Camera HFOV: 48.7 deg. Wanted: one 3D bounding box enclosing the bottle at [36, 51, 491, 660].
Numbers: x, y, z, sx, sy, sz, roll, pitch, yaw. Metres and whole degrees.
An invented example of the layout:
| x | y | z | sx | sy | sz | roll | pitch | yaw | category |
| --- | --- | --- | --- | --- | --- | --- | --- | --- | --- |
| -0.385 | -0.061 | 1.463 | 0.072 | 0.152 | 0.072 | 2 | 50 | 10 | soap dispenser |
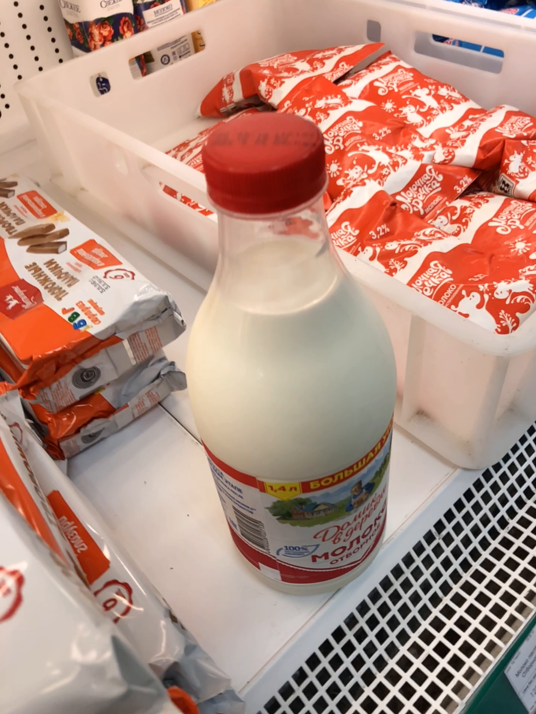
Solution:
| x | y | z | sx | sy | sz | roll | pitch | yaw | category |
| --- | --- | --- | --- | --- | --- | --- | --- | --- | --- |
| 0.012 | 0.028 | 0.285 | 0.110 | 0.278 | 0.090 | -33 | 51 | -21 | bottle |
